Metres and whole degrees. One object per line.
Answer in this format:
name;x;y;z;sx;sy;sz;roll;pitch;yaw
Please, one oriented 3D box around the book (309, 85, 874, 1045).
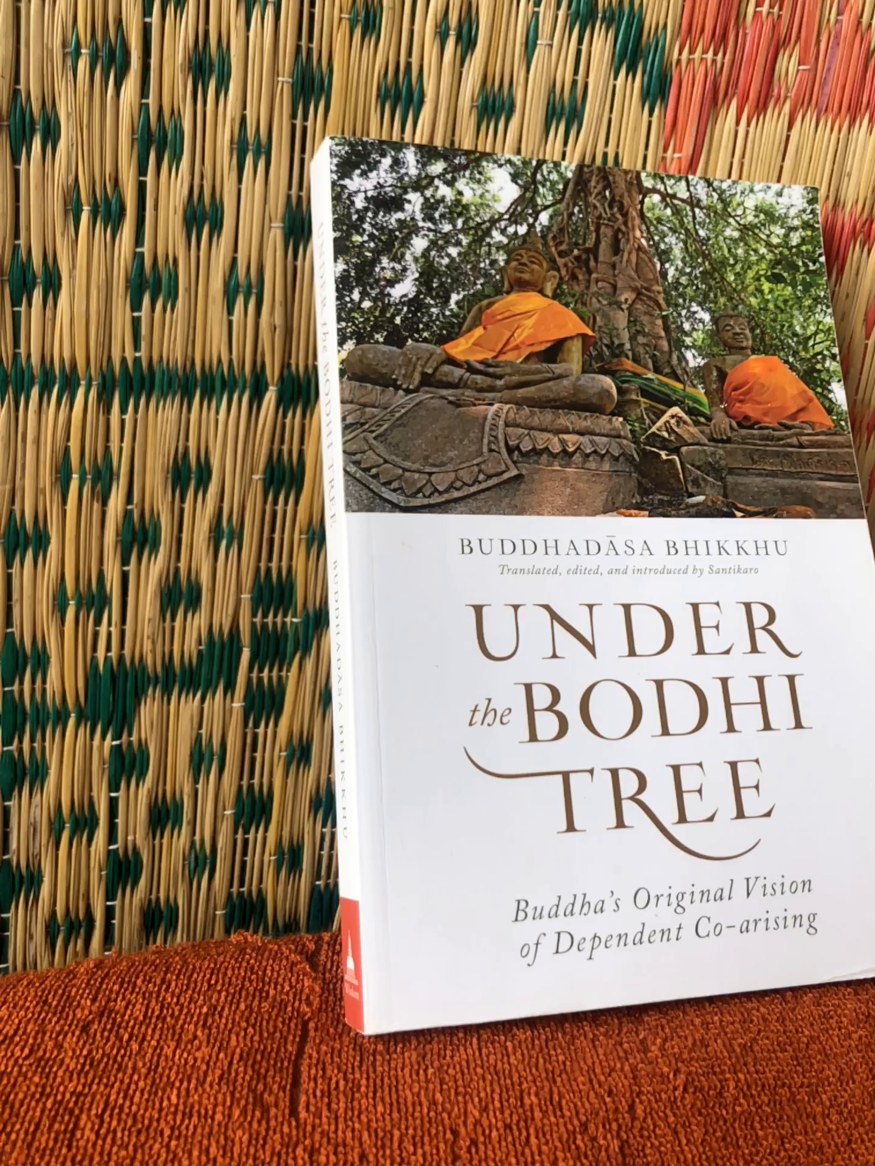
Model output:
book;0.051;-0.014;0.263;0.160;0.231;0.030;-1;-12;-15
